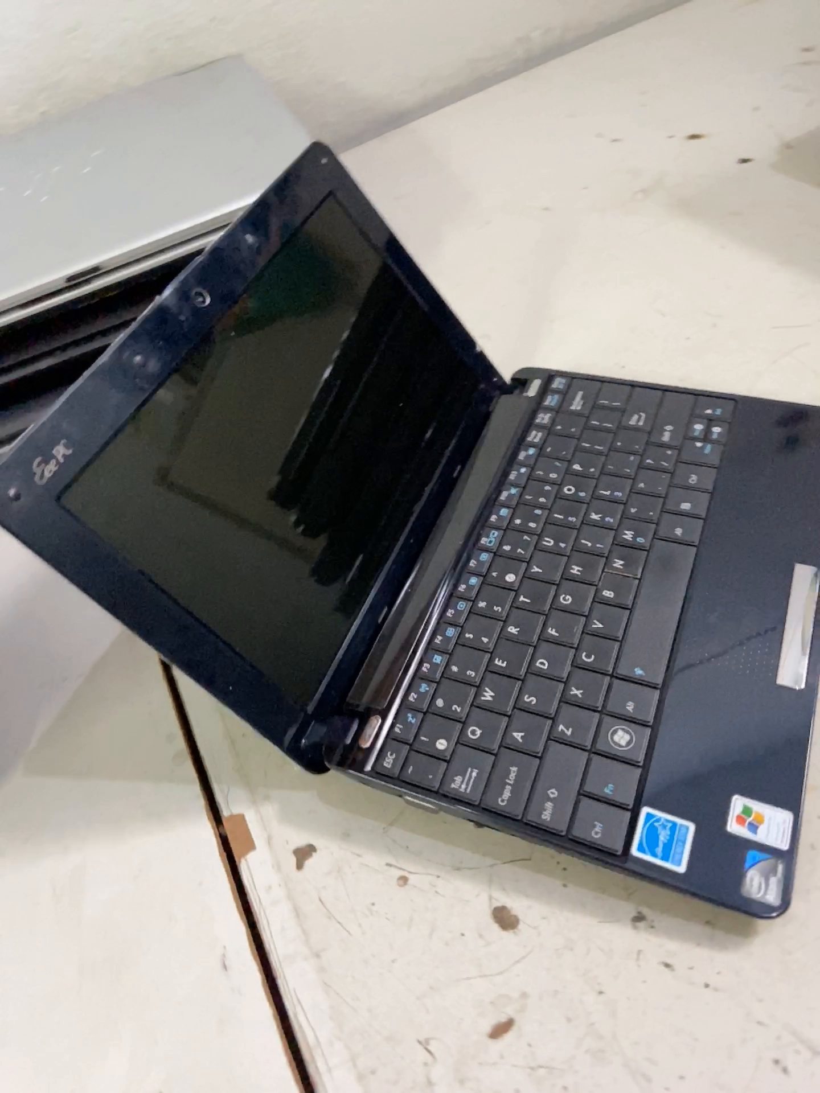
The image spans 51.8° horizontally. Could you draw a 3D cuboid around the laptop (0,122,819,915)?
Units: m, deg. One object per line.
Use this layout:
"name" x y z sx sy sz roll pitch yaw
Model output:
"laptop" 0.034 -0.047 0.356 0.273 0.133 0.261 13 53 22
